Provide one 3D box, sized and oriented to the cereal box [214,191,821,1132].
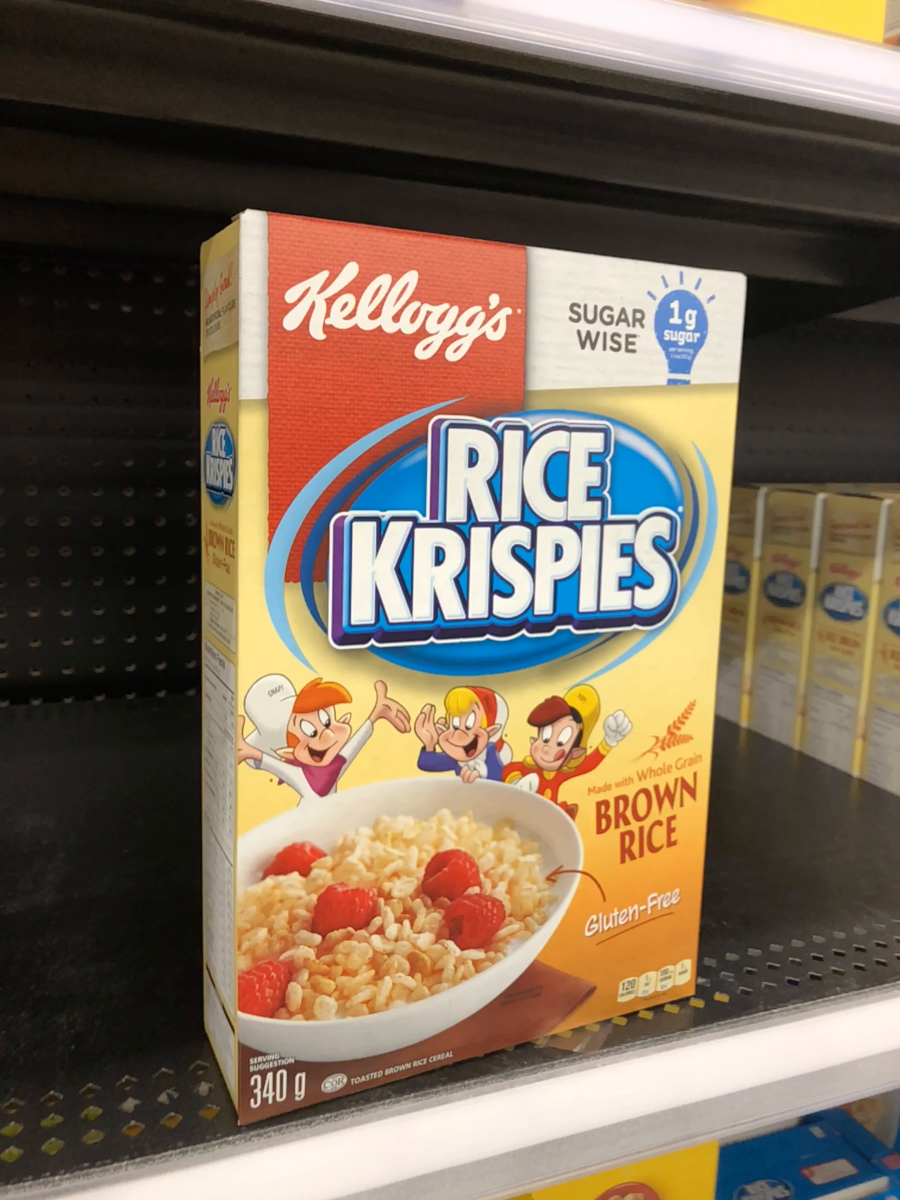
[{"bbox_3d":[0.024,0.019,0.372,0.210,0.289,0.060,-3,11,-26],"label":"cereal box"}]
